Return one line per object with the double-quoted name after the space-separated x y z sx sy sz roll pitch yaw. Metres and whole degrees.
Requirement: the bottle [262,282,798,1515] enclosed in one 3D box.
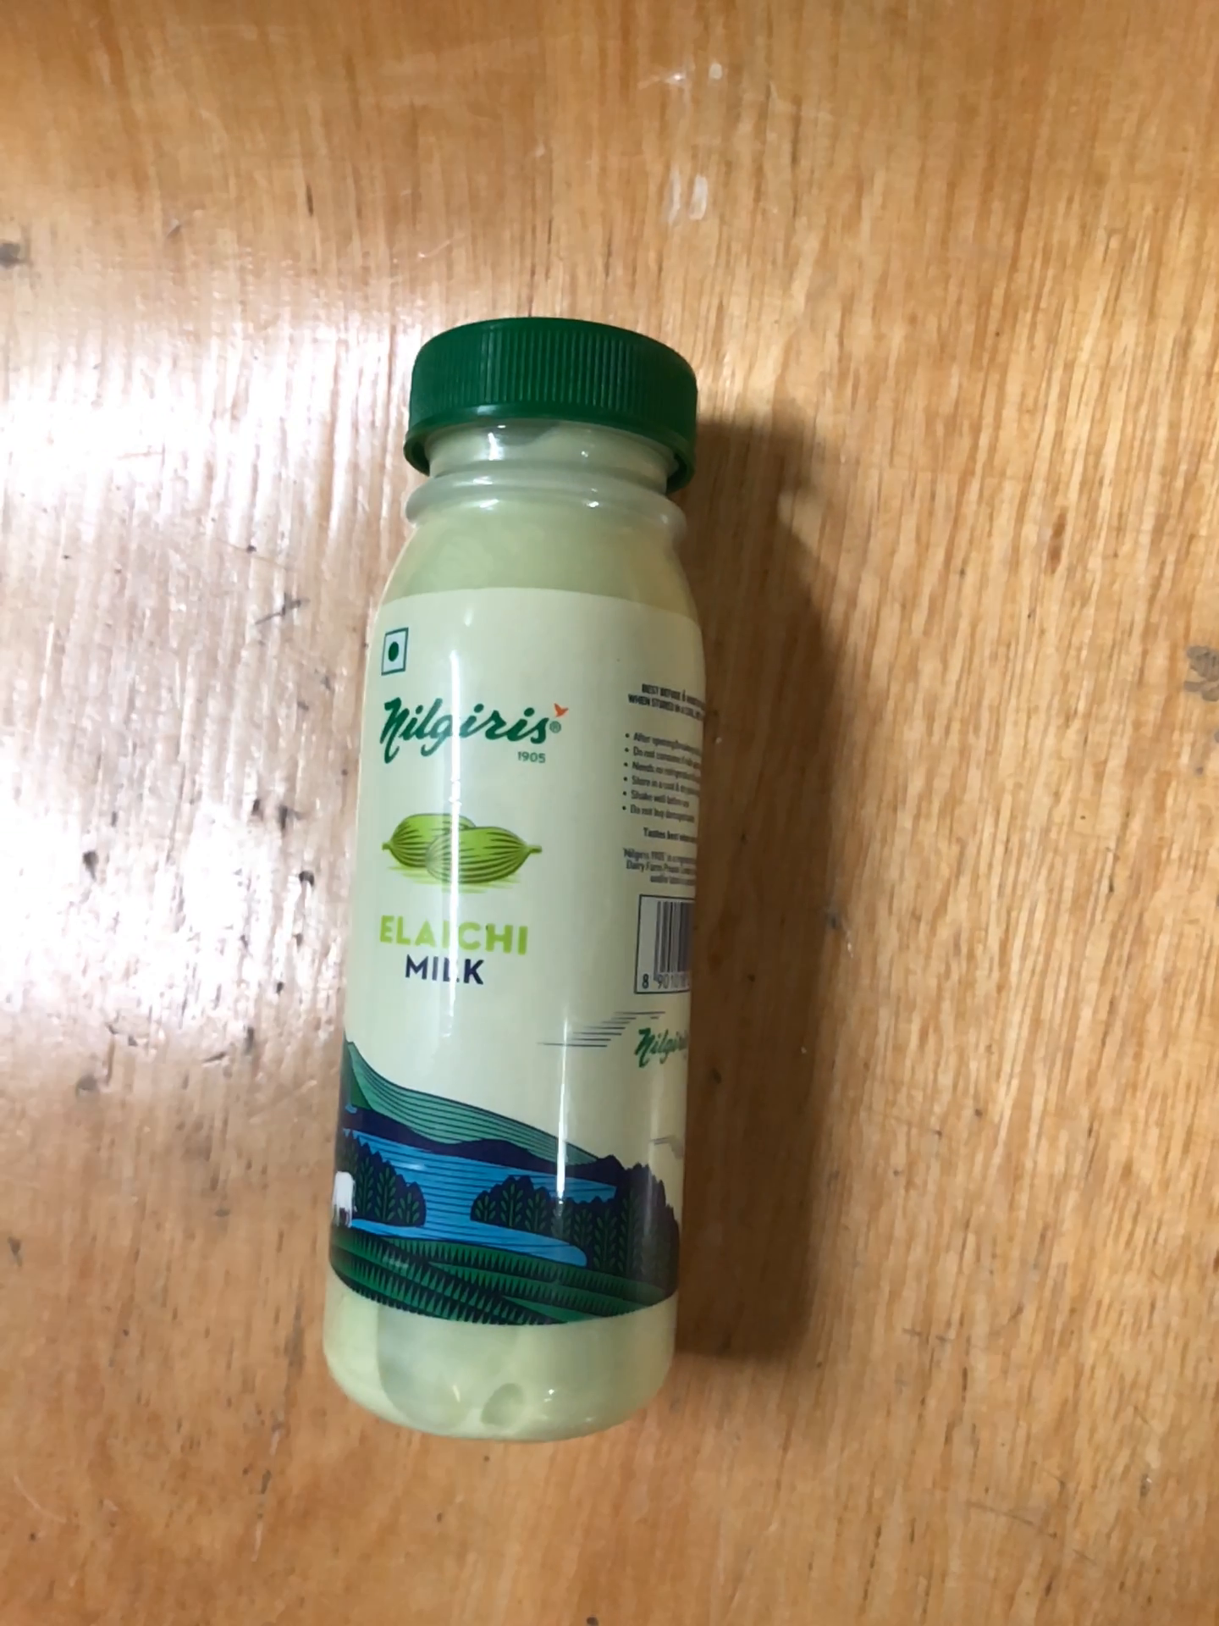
-0.007 0.008 0.182 0.050 0.040 0.140 4 87 15 "bottle"
